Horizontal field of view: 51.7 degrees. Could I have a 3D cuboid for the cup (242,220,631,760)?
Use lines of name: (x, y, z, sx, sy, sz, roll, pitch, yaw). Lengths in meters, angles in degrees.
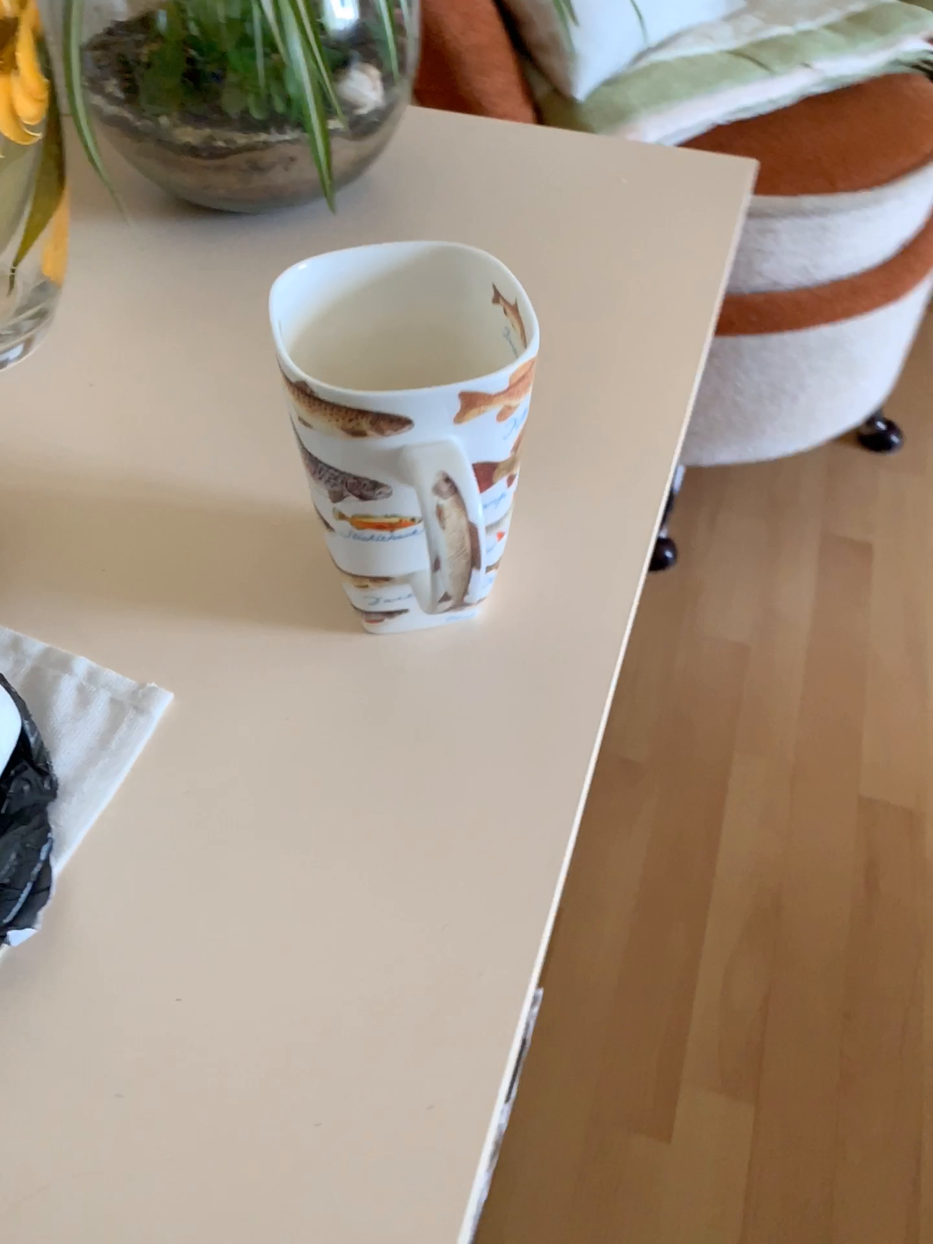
cup: (-0.017, -0.050, 0.352, 0.091, 0.122, 0.139, -12, 51, -11)
